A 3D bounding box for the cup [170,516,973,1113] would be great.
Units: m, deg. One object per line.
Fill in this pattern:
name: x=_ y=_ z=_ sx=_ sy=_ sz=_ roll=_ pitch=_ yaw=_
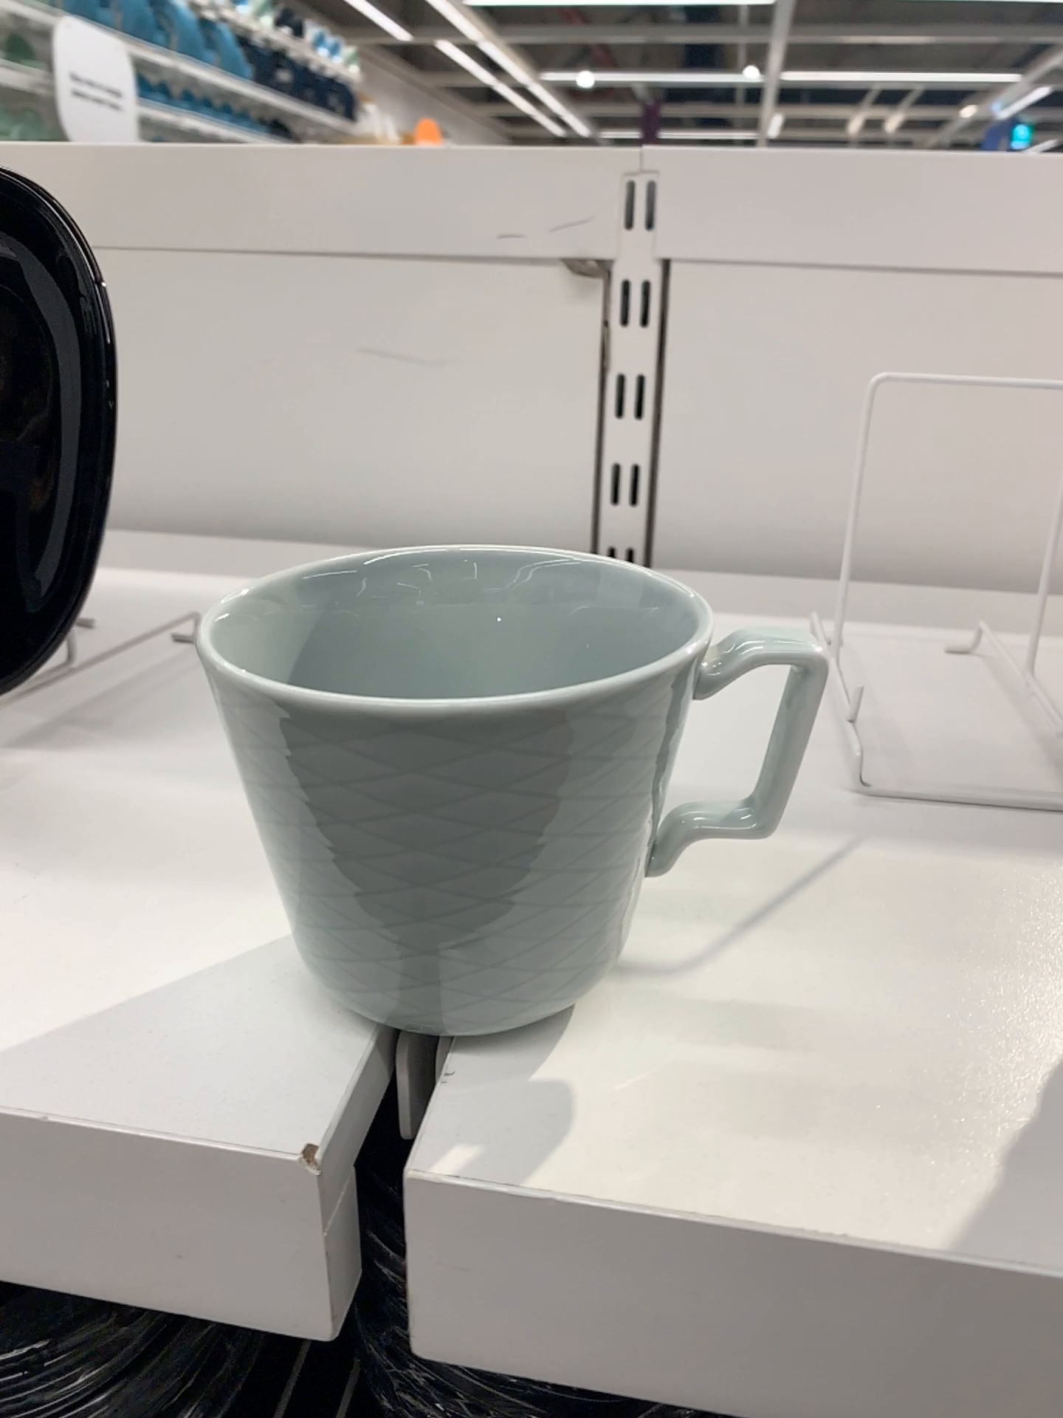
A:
cup: x=-0.002 y=0.008 z=0.228 sx=0.130 sy=0.070 sz=0.100 roll=-6 pitch=23 yaw=-17
